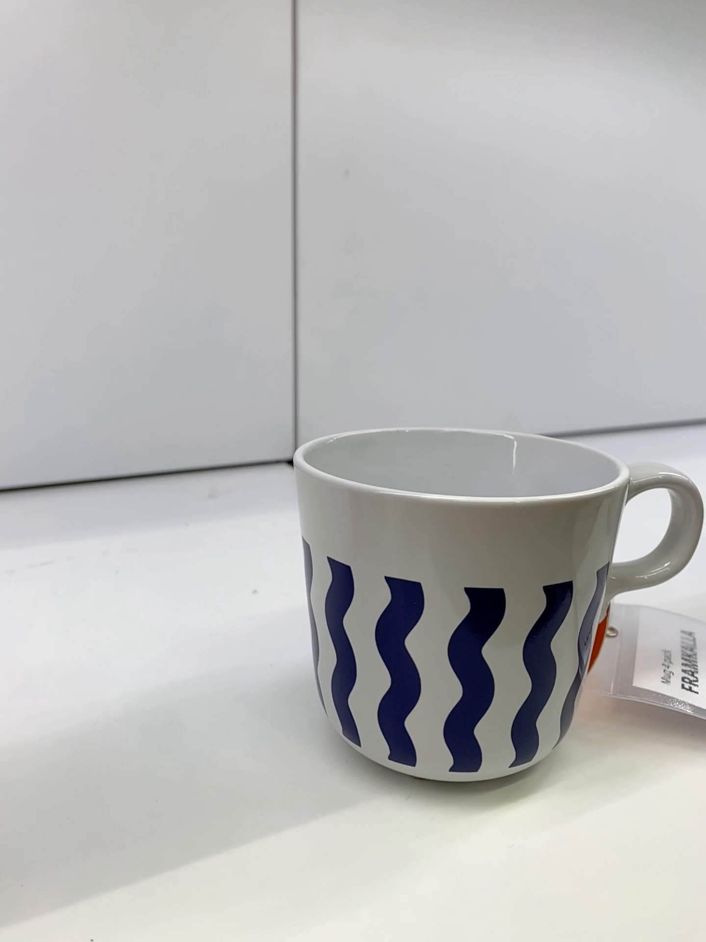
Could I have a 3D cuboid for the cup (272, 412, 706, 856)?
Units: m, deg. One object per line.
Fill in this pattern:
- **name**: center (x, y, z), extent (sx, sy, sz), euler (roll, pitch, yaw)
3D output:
- **cup**: center (0.041, 0.028, 0.195), extent (0.101, 0.071, 0.076), euler (-7, 14, -28)
